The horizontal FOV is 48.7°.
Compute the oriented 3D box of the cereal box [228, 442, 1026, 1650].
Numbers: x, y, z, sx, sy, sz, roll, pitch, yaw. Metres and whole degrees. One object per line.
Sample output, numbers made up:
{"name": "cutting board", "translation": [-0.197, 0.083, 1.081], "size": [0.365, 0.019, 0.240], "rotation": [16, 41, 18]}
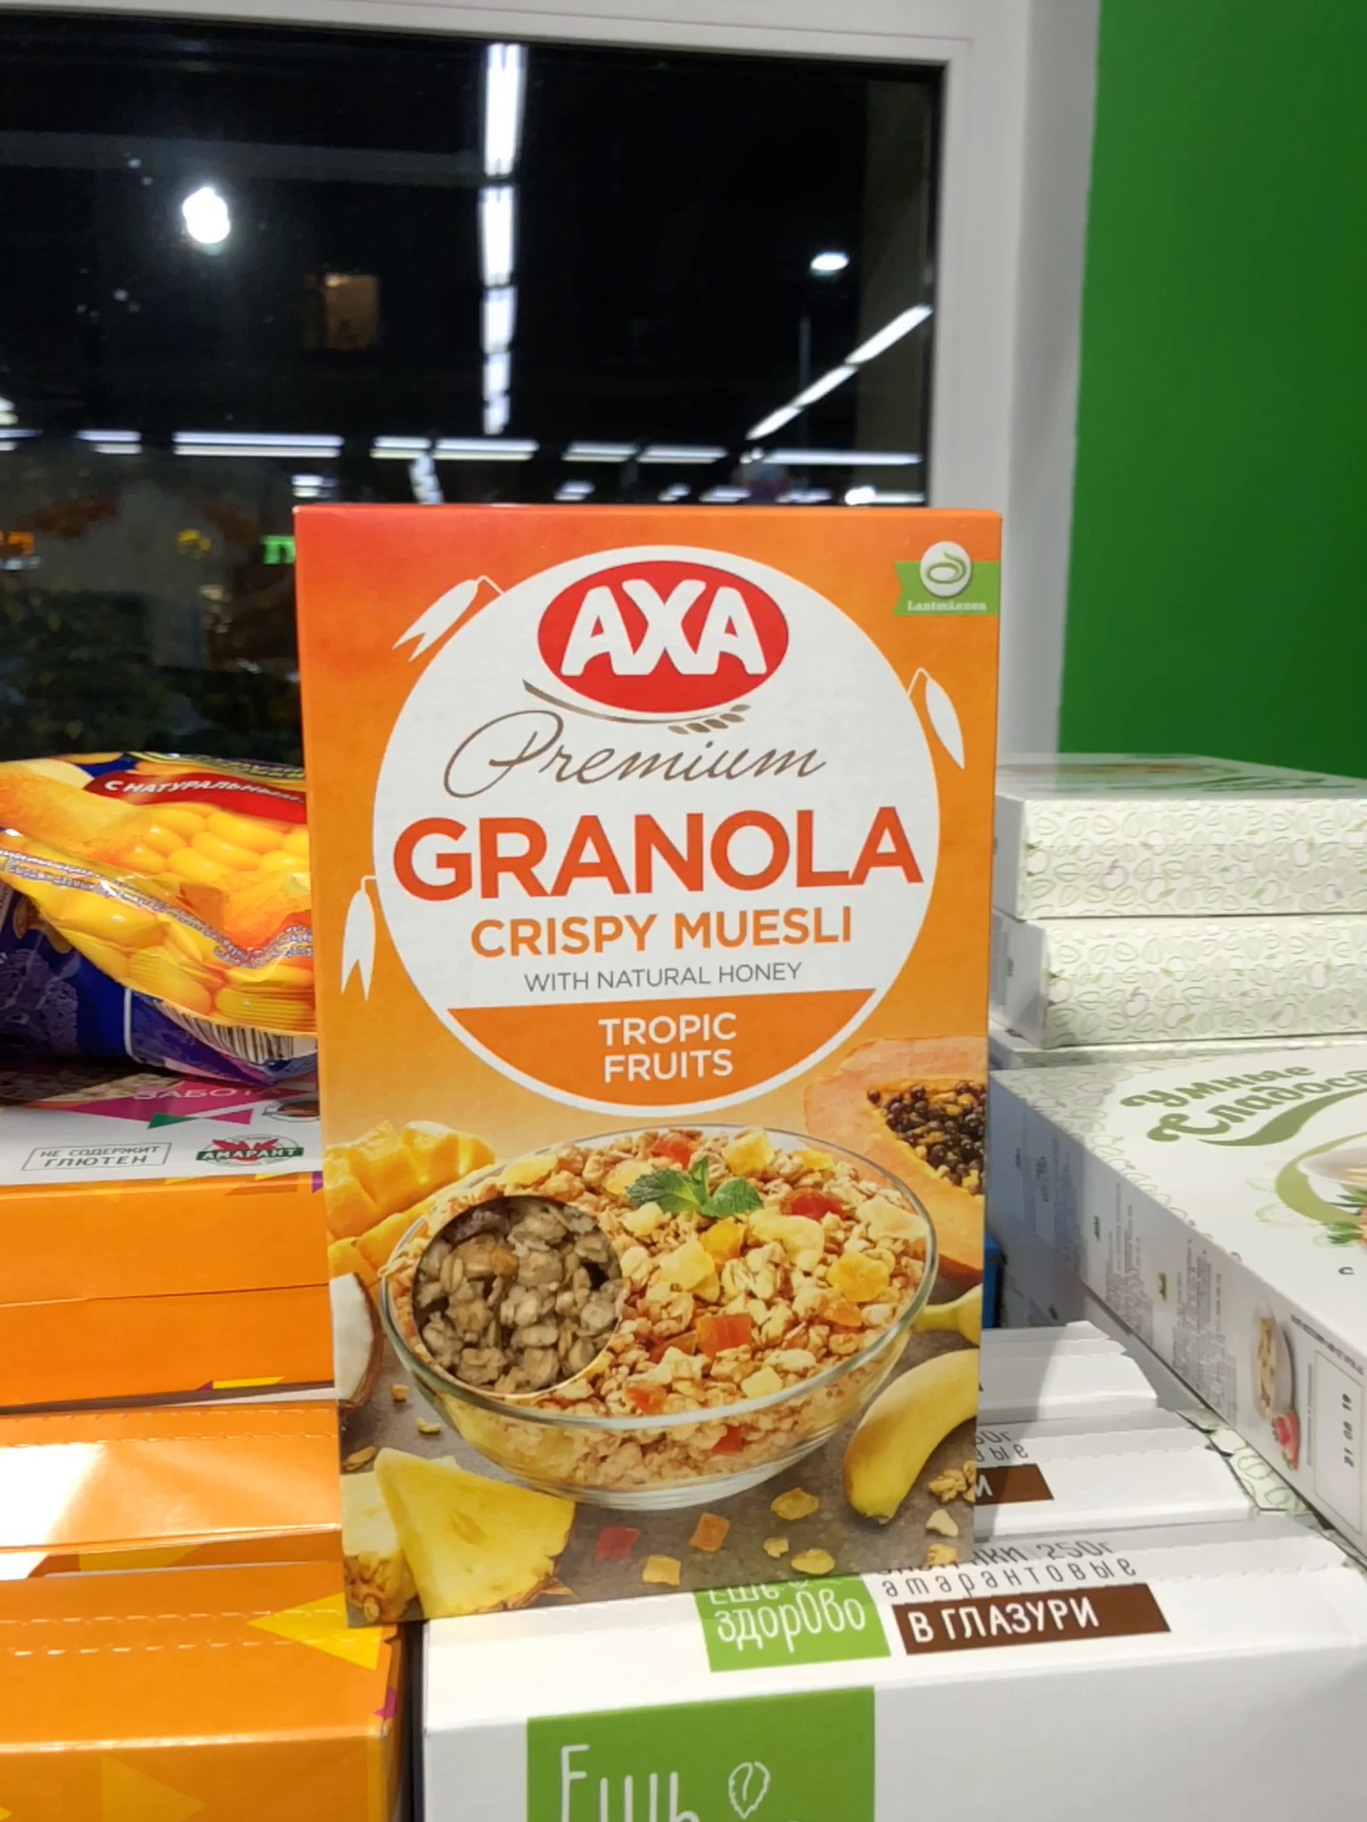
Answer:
{"name": "cereal box", "translation": [-0.012, 0.025, 0.304], "size": [0.140, 0.219, 0.050], "rotation": [-1, 9, -11]}
